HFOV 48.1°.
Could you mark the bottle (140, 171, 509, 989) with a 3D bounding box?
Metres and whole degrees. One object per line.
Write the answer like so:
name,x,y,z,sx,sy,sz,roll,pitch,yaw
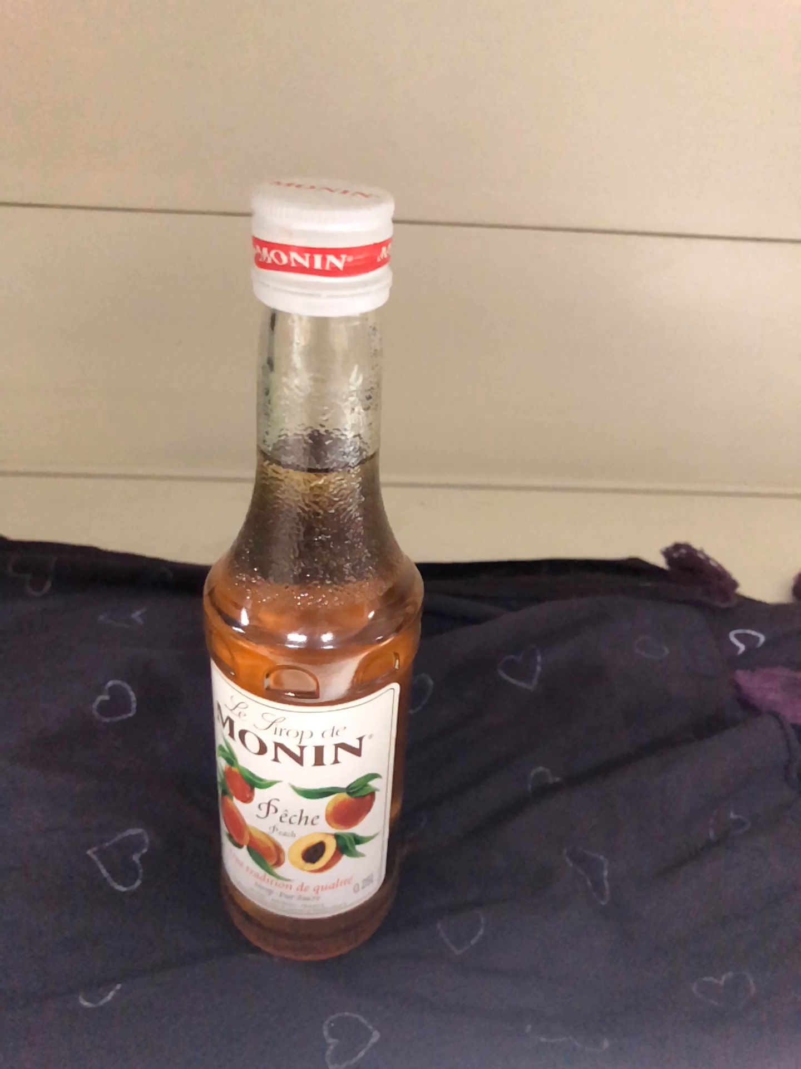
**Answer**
bottle,-0.018,0.021,0.240,0.060,0.209,0.060,3,29,-1
